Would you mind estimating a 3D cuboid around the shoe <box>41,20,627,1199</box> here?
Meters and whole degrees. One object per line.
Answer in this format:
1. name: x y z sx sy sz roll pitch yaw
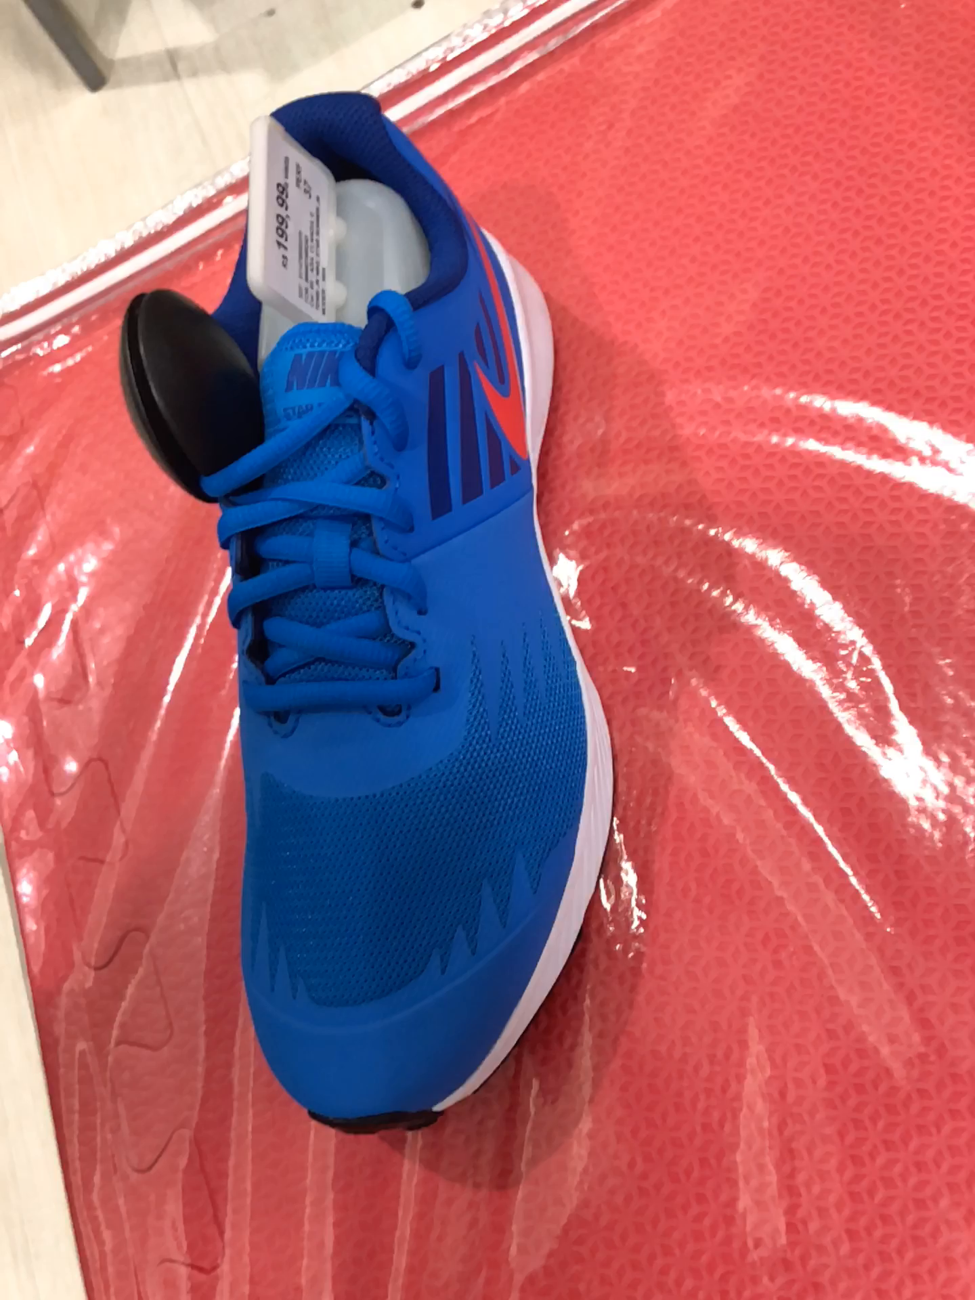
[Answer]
1. shoe: -0.021 -0.016 0.297 0.100 0.100 0.281 -2 69 15
